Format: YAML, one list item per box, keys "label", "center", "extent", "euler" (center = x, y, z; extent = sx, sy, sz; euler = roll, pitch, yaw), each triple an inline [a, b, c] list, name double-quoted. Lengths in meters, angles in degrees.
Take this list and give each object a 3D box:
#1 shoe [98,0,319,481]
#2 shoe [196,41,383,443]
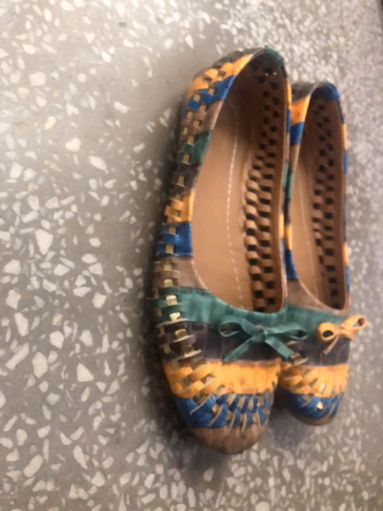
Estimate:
- label: "shoe"
  center: [0.010, -0.012, 0.256]
  extent: [0.090, 0.074, 0.237]
  euler: [12, 72, -38]
- label: "shoe"
  center: [0.068, -0.008, 0.305]
  extent: [0.090, 0.074, 0.237]
  euler: [6, 76, -40]
